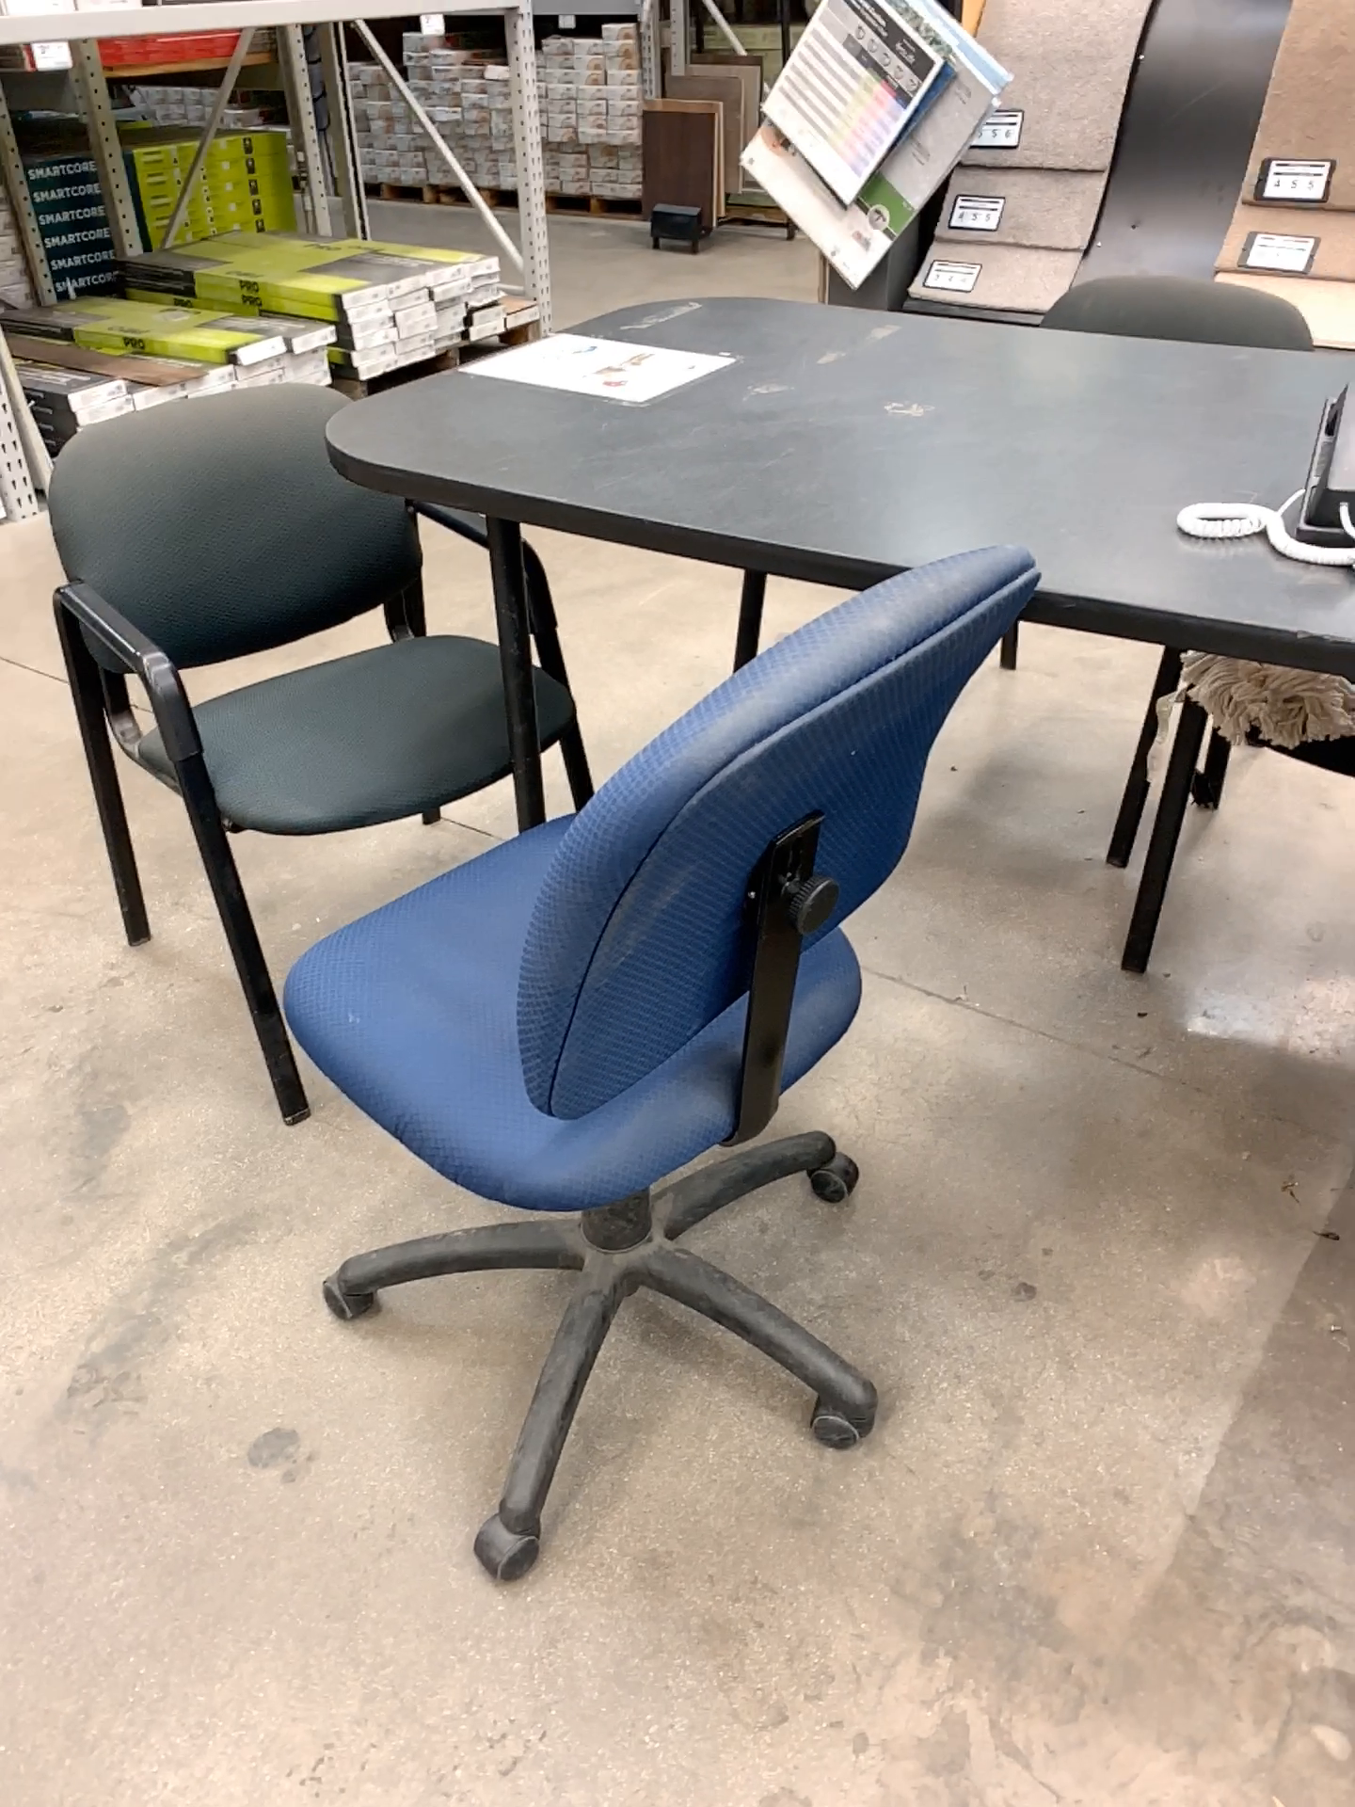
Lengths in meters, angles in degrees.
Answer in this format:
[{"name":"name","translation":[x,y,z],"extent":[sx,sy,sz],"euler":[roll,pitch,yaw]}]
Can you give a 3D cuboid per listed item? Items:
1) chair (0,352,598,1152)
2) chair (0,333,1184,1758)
[{"name":"chair","translation":[-0.522,-0.234,1.866],"extent":[0.568,0.800,0.543],"euler":[-26,41,-31]},{"name":"chair","translation":[-0.083,0.053,1.268],"extent":[0.663,0.889,0.698],"euler":[26,43,35]}]
